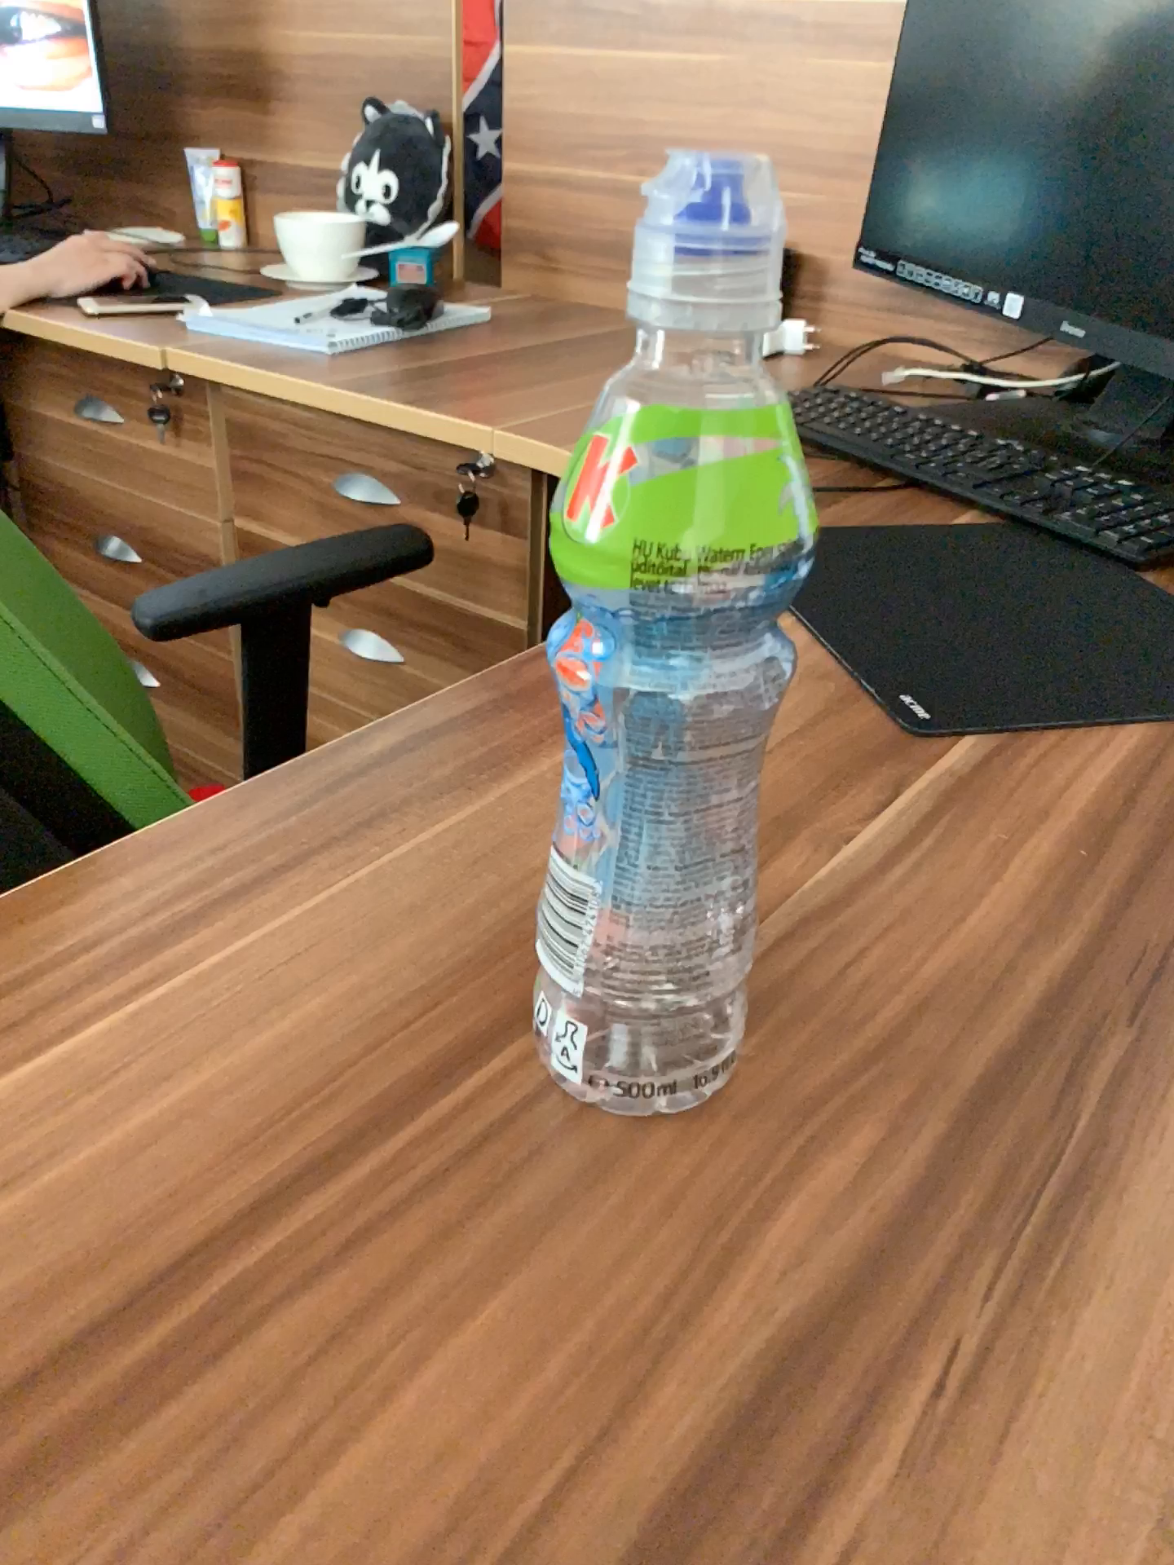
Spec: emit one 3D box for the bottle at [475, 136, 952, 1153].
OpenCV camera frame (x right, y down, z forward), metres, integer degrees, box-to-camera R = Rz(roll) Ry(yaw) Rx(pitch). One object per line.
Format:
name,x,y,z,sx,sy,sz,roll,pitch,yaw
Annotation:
bottle,0.018,-0.026,0.309,0.070,0.239,0.070,3,30,-2
